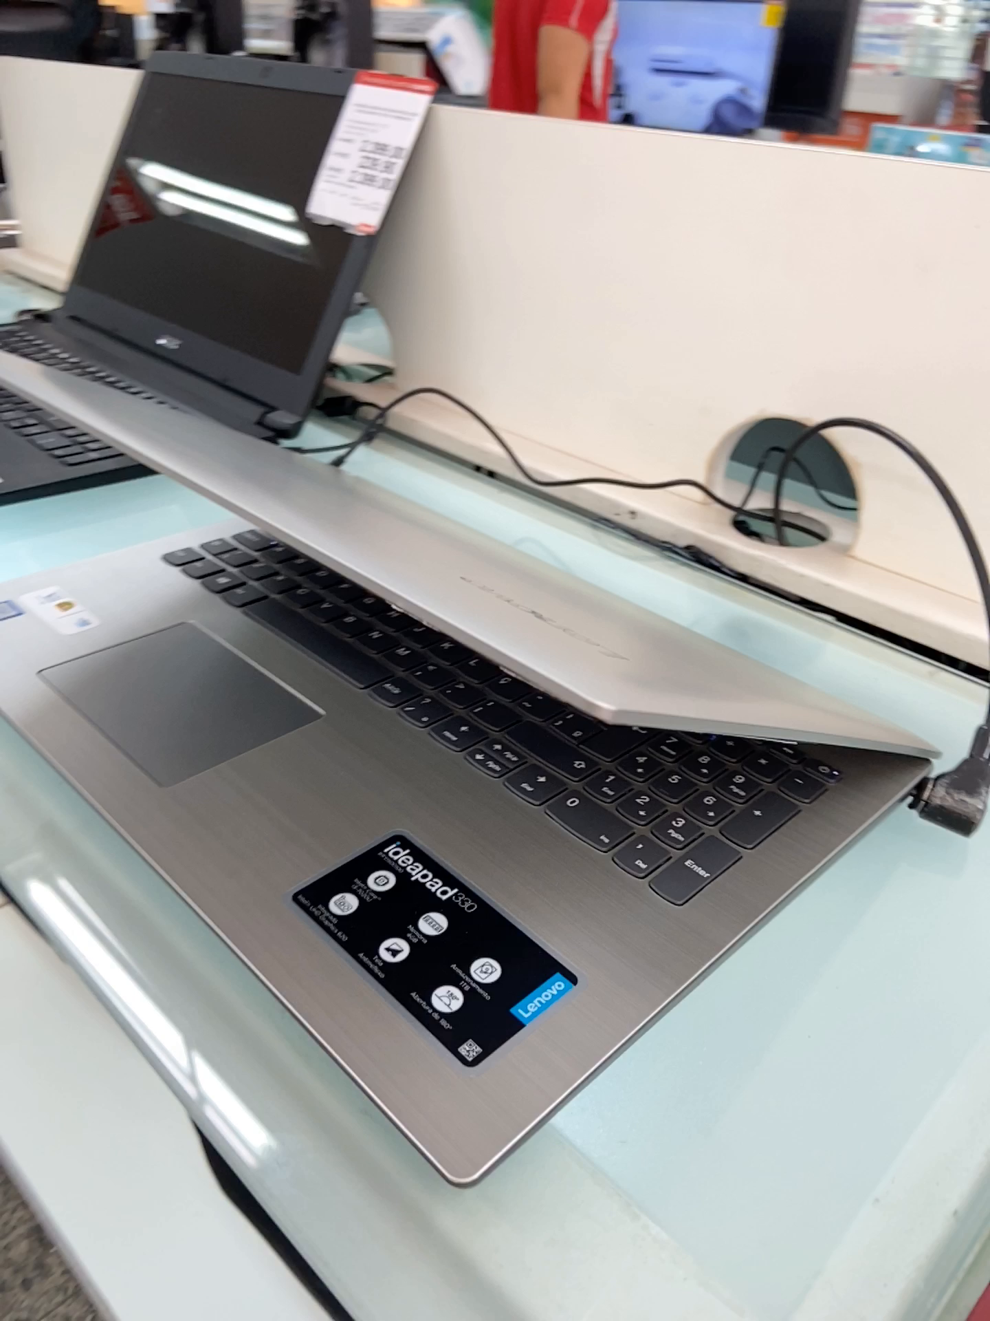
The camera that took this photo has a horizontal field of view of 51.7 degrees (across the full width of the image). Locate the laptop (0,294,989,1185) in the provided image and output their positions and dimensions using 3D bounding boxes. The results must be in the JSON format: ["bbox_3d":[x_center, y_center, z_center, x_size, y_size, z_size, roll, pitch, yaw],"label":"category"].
[{"bbox_3d":[-0.047,-0.039,0.399,0.247,0.114,0.370,-25,40,-37],"label":"laptop"}]

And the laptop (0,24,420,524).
[{"bbox_3d":[-0.313,-0.316,0.741,0.355,0.211,0.401,28,39,33],"label":"laptop"}]
